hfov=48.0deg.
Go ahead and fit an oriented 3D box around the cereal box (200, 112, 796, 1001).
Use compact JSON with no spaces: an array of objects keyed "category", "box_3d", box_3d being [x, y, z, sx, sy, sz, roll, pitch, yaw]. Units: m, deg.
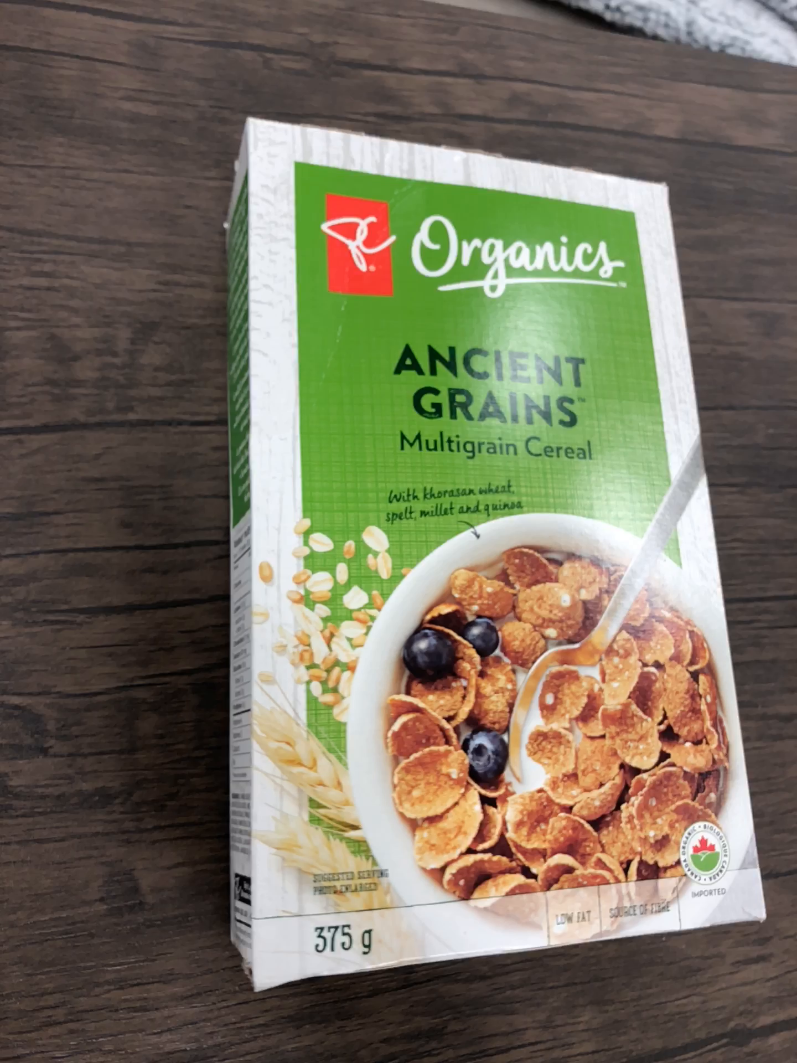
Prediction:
[{"category":"cereal box","box_3d":[0.023,0.002,0.305,0.170,0.070,0.250,1,77,-17]}]
